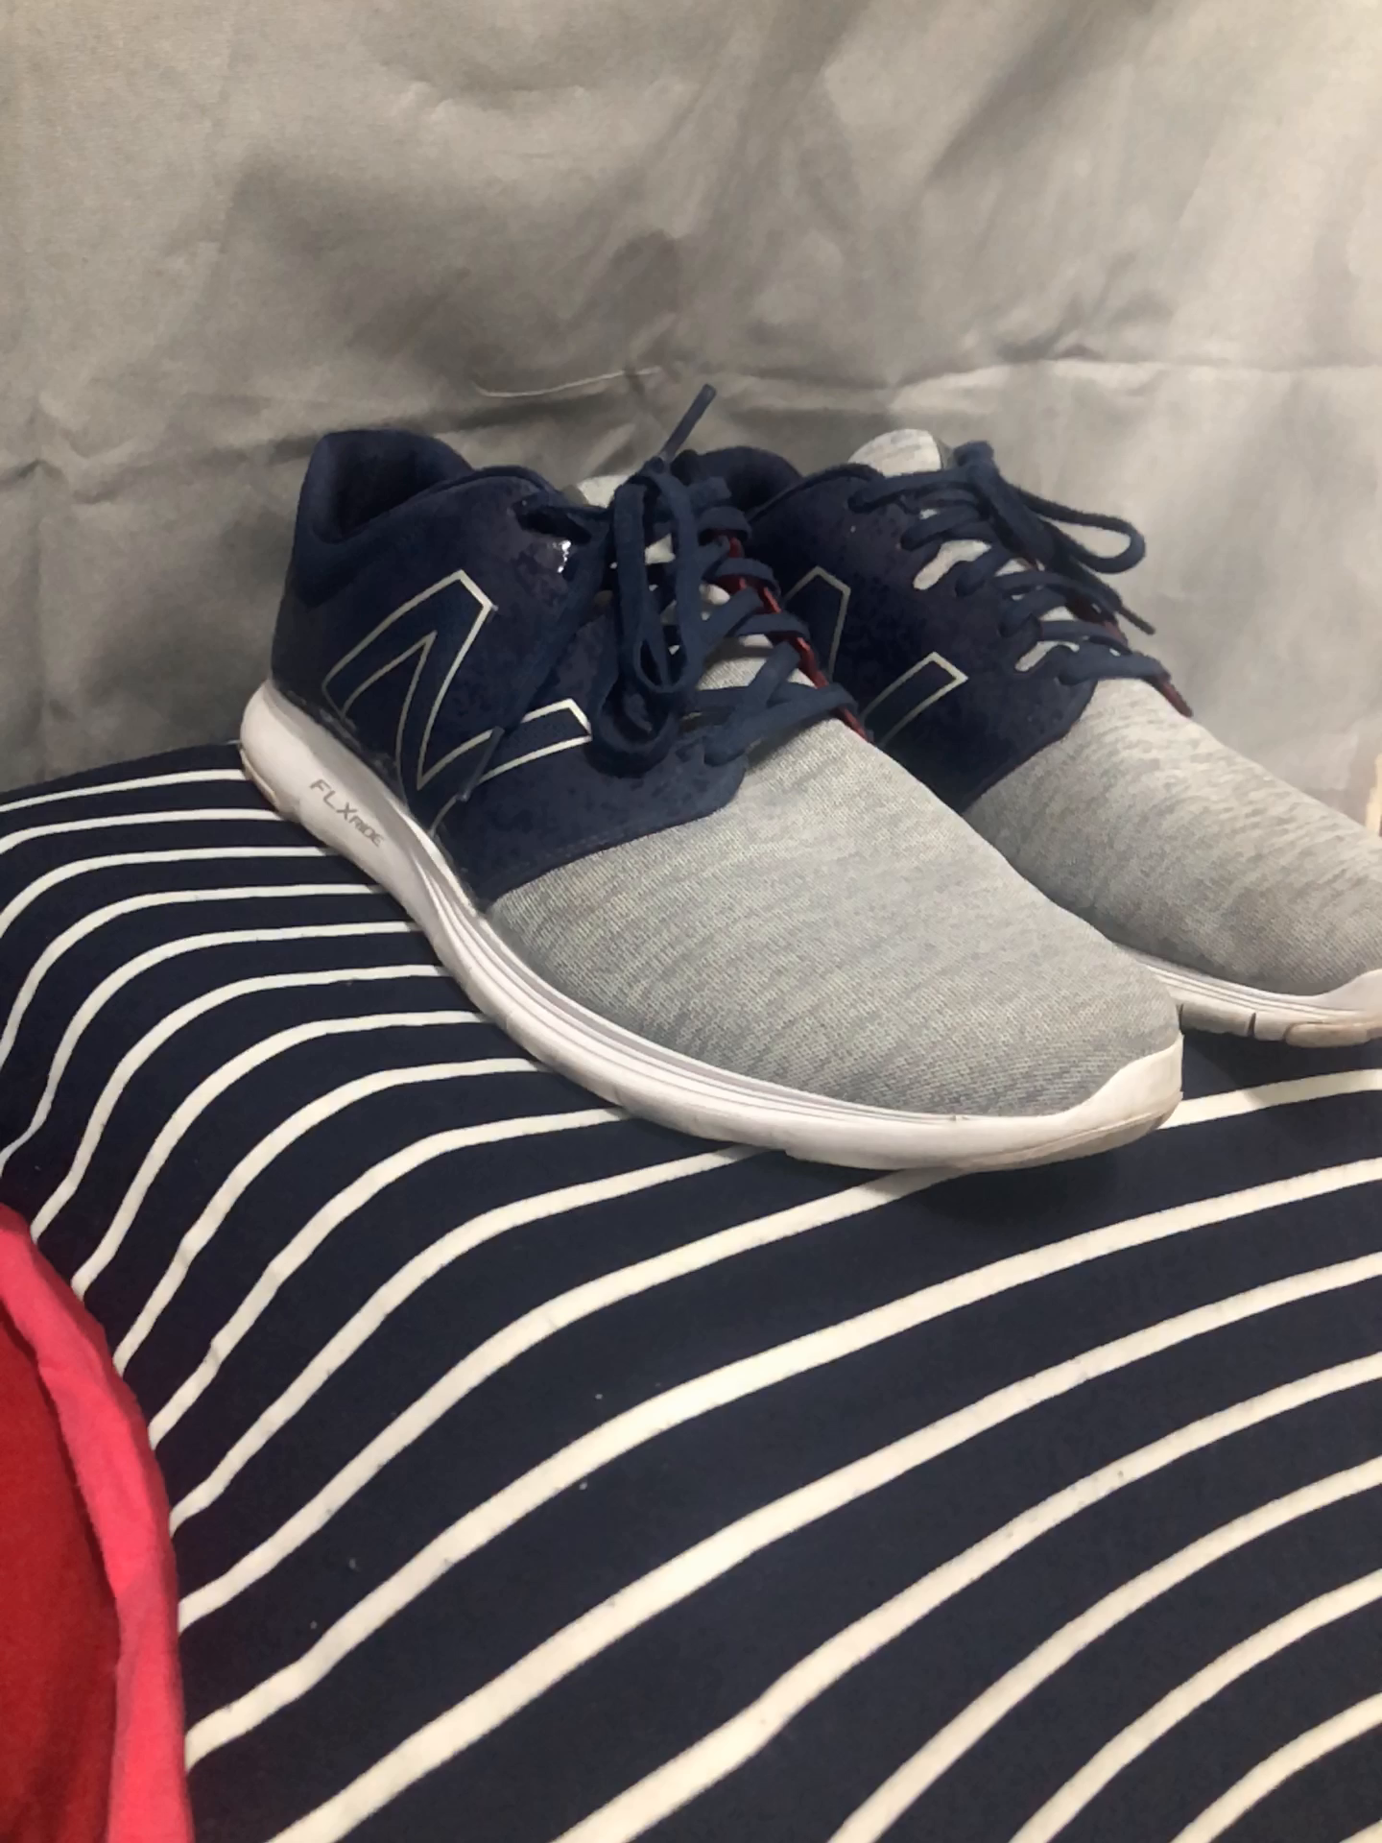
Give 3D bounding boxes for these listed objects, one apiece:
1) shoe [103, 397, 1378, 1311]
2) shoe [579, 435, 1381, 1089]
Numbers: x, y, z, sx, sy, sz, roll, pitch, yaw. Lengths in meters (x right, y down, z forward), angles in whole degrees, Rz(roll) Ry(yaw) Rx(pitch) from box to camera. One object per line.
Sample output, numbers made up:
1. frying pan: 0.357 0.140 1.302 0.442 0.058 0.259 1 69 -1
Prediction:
1. shoe: -0.022 -0.053 0.379 0.120 0.089 0.322 -15 34 -38
2. shoe: 0.097 -0.067 0.425 0.120 0.079 0.261 -15 34 -38
